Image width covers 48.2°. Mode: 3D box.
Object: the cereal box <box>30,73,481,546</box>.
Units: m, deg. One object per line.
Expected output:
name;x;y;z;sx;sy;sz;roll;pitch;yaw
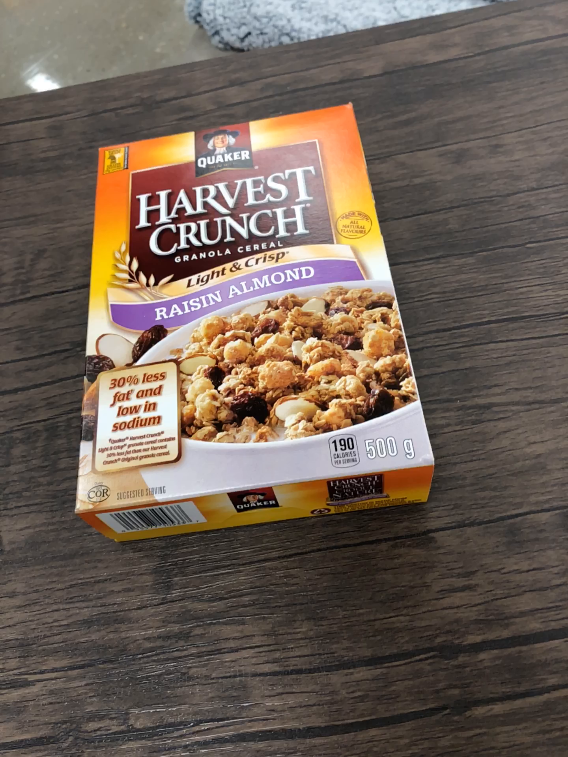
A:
cereal box;-0.021;-0.046;0.326;0.180;0.050;0.230;-8;61;3
